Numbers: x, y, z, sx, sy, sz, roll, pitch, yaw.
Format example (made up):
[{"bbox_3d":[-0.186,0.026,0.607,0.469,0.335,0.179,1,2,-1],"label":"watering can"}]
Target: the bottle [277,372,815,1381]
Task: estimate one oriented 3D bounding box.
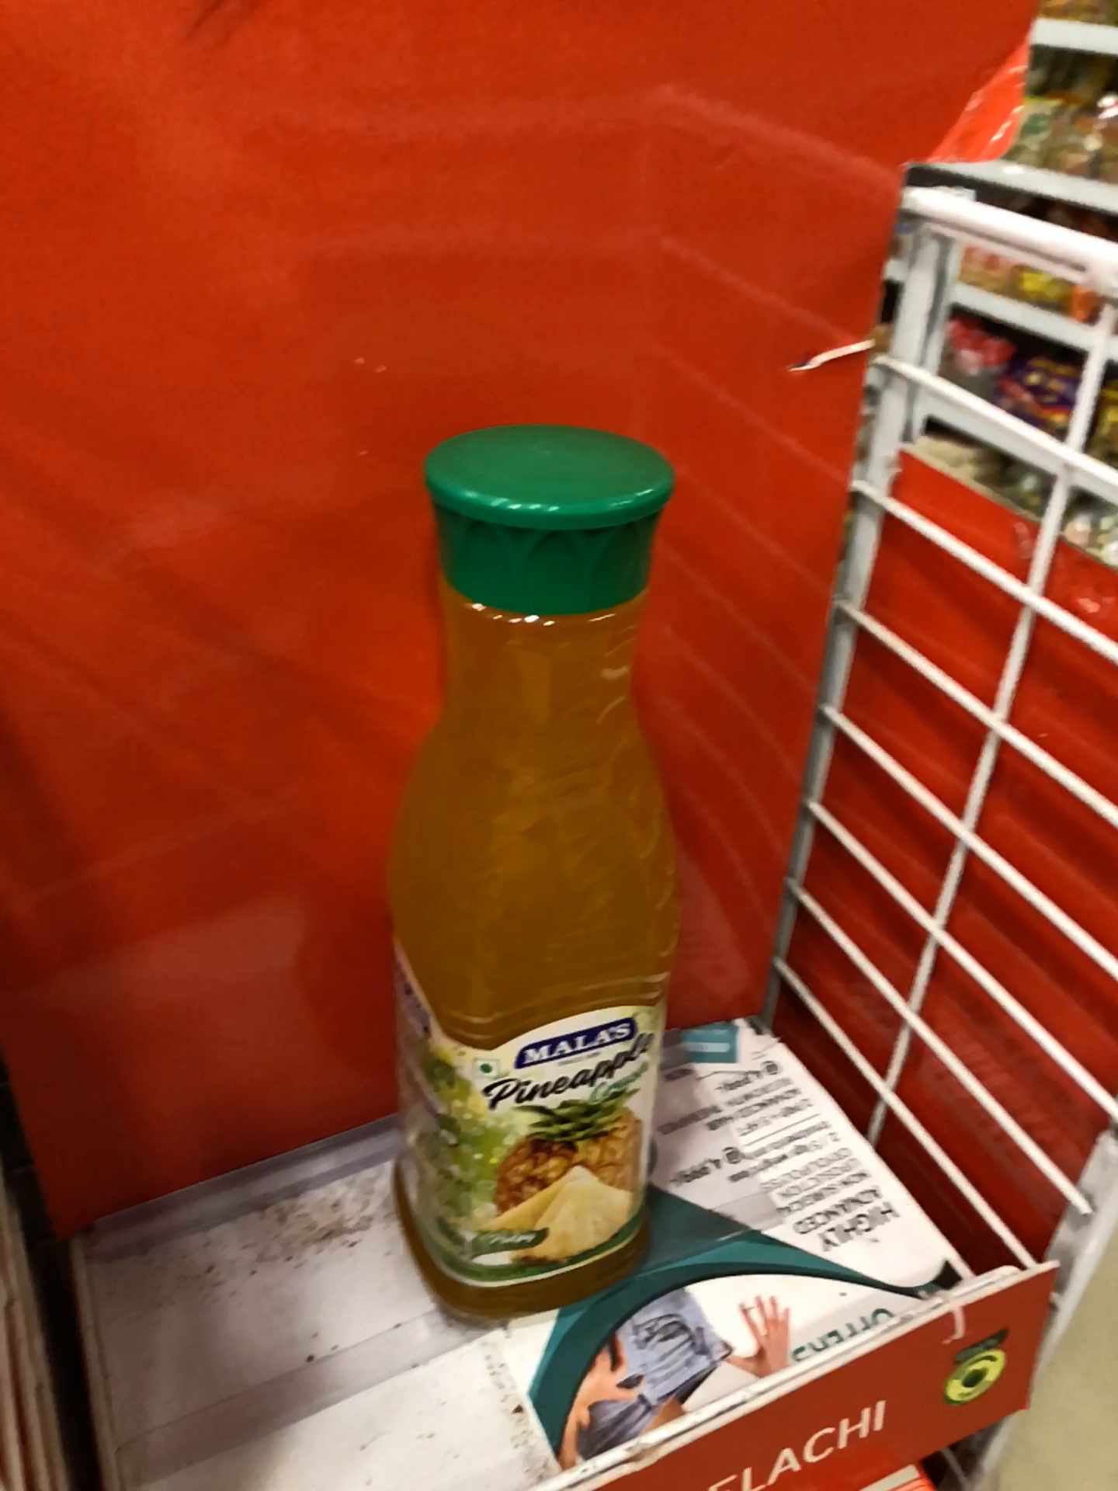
[{"bbox_3d":[-0.011,0.046,0.322,0.090,0.258,0.070,-10,36,-19],"label":"bottle"}]
